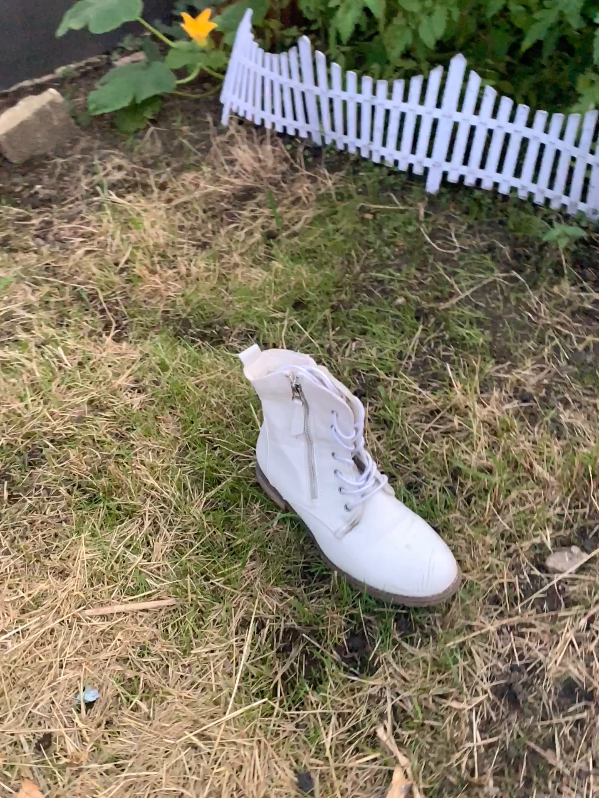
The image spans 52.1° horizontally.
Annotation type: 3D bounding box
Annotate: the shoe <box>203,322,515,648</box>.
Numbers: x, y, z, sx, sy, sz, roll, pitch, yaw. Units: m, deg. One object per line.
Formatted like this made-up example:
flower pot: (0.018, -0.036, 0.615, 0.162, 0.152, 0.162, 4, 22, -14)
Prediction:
shoe: (0.046, 0.074, 0.581, 0.100, 0.178, 0.262, -38, 53, -26)
